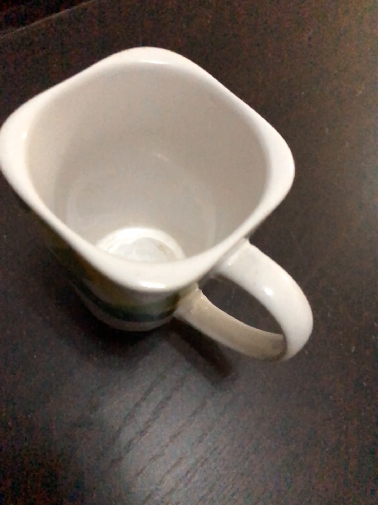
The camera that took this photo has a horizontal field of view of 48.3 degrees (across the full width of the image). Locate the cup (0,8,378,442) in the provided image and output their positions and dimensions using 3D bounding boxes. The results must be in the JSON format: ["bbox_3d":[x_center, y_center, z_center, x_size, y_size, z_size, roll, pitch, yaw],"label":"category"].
[{"bbox_3d":[-0.001,-0.004,0.157,0.110,0.090,0.080,41,64,10],"label":"cup"}]
